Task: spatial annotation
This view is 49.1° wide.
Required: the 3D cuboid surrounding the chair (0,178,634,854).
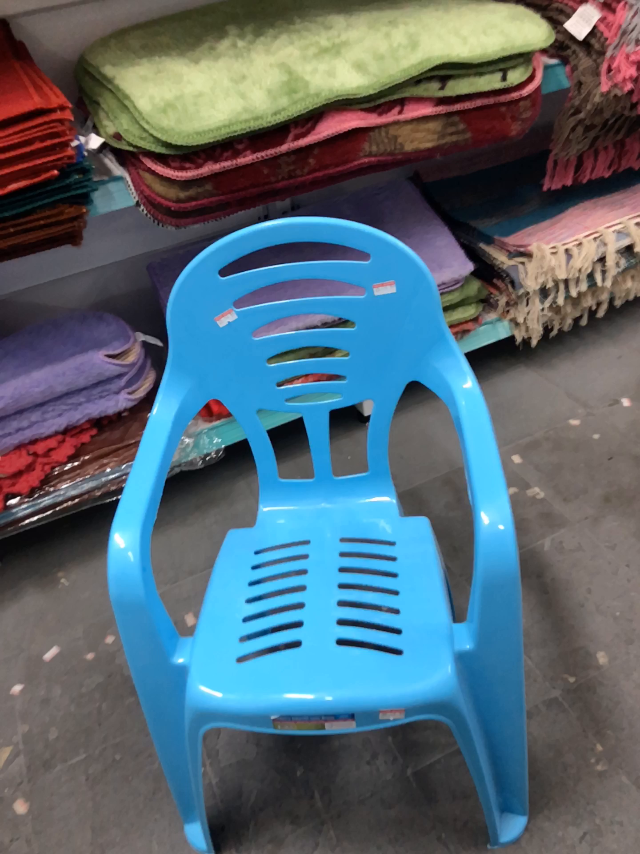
[{"bbox_3d":[-0.005,0.106,0.678,0.400,0.516,0.393,-5,38,6],"label":"chair"}]
